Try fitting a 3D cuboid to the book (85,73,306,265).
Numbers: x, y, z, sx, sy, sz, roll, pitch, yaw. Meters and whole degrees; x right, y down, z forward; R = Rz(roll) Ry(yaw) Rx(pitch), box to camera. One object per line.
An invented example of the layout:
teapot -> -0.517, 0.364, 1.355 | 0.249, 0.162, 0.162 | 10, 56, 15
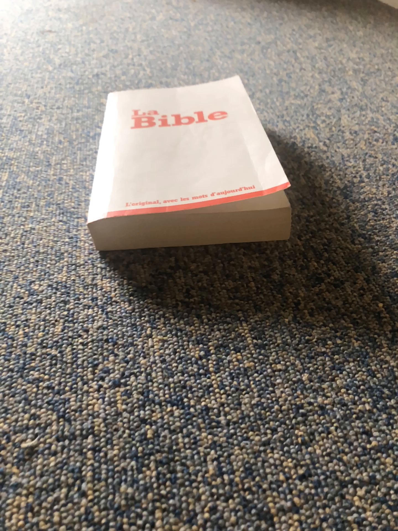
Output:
book -> -0.011, -0.093, 0.358 | 0.133, 0.042, 0.212 | -5, 42, -3
